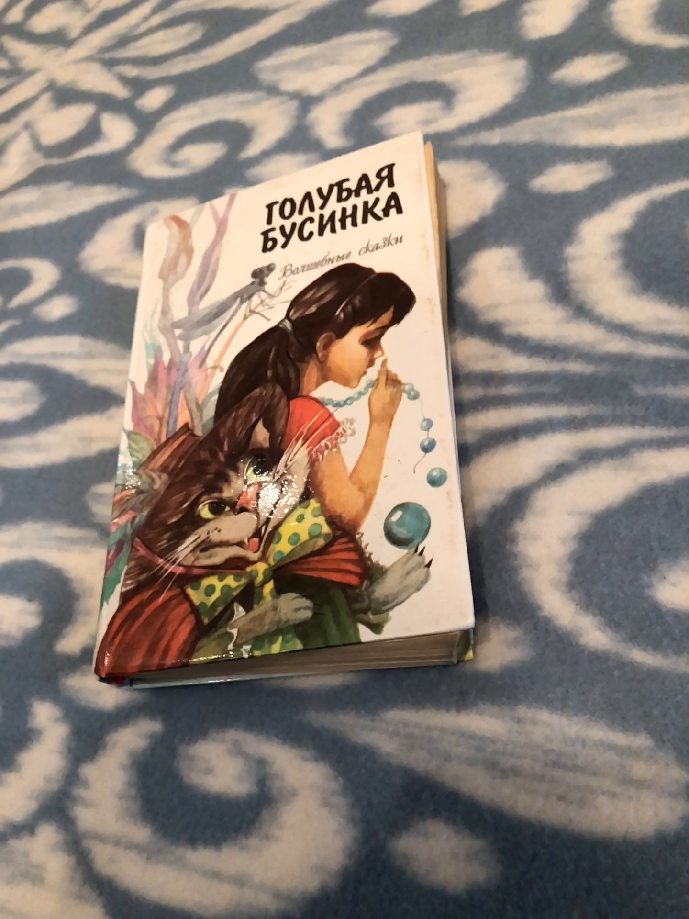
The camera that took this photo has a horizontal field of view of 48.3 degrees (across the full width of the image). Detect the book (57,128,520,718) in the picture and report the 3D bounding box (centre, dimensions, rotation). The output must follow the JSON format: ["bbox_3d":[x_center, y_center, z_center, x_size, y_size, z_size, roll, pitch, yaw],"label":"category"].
[{"bbox_3d":[-0.023,-0.018,0.295,0.145,0.040,0.206,-12,60,19],"label":"book"}]
